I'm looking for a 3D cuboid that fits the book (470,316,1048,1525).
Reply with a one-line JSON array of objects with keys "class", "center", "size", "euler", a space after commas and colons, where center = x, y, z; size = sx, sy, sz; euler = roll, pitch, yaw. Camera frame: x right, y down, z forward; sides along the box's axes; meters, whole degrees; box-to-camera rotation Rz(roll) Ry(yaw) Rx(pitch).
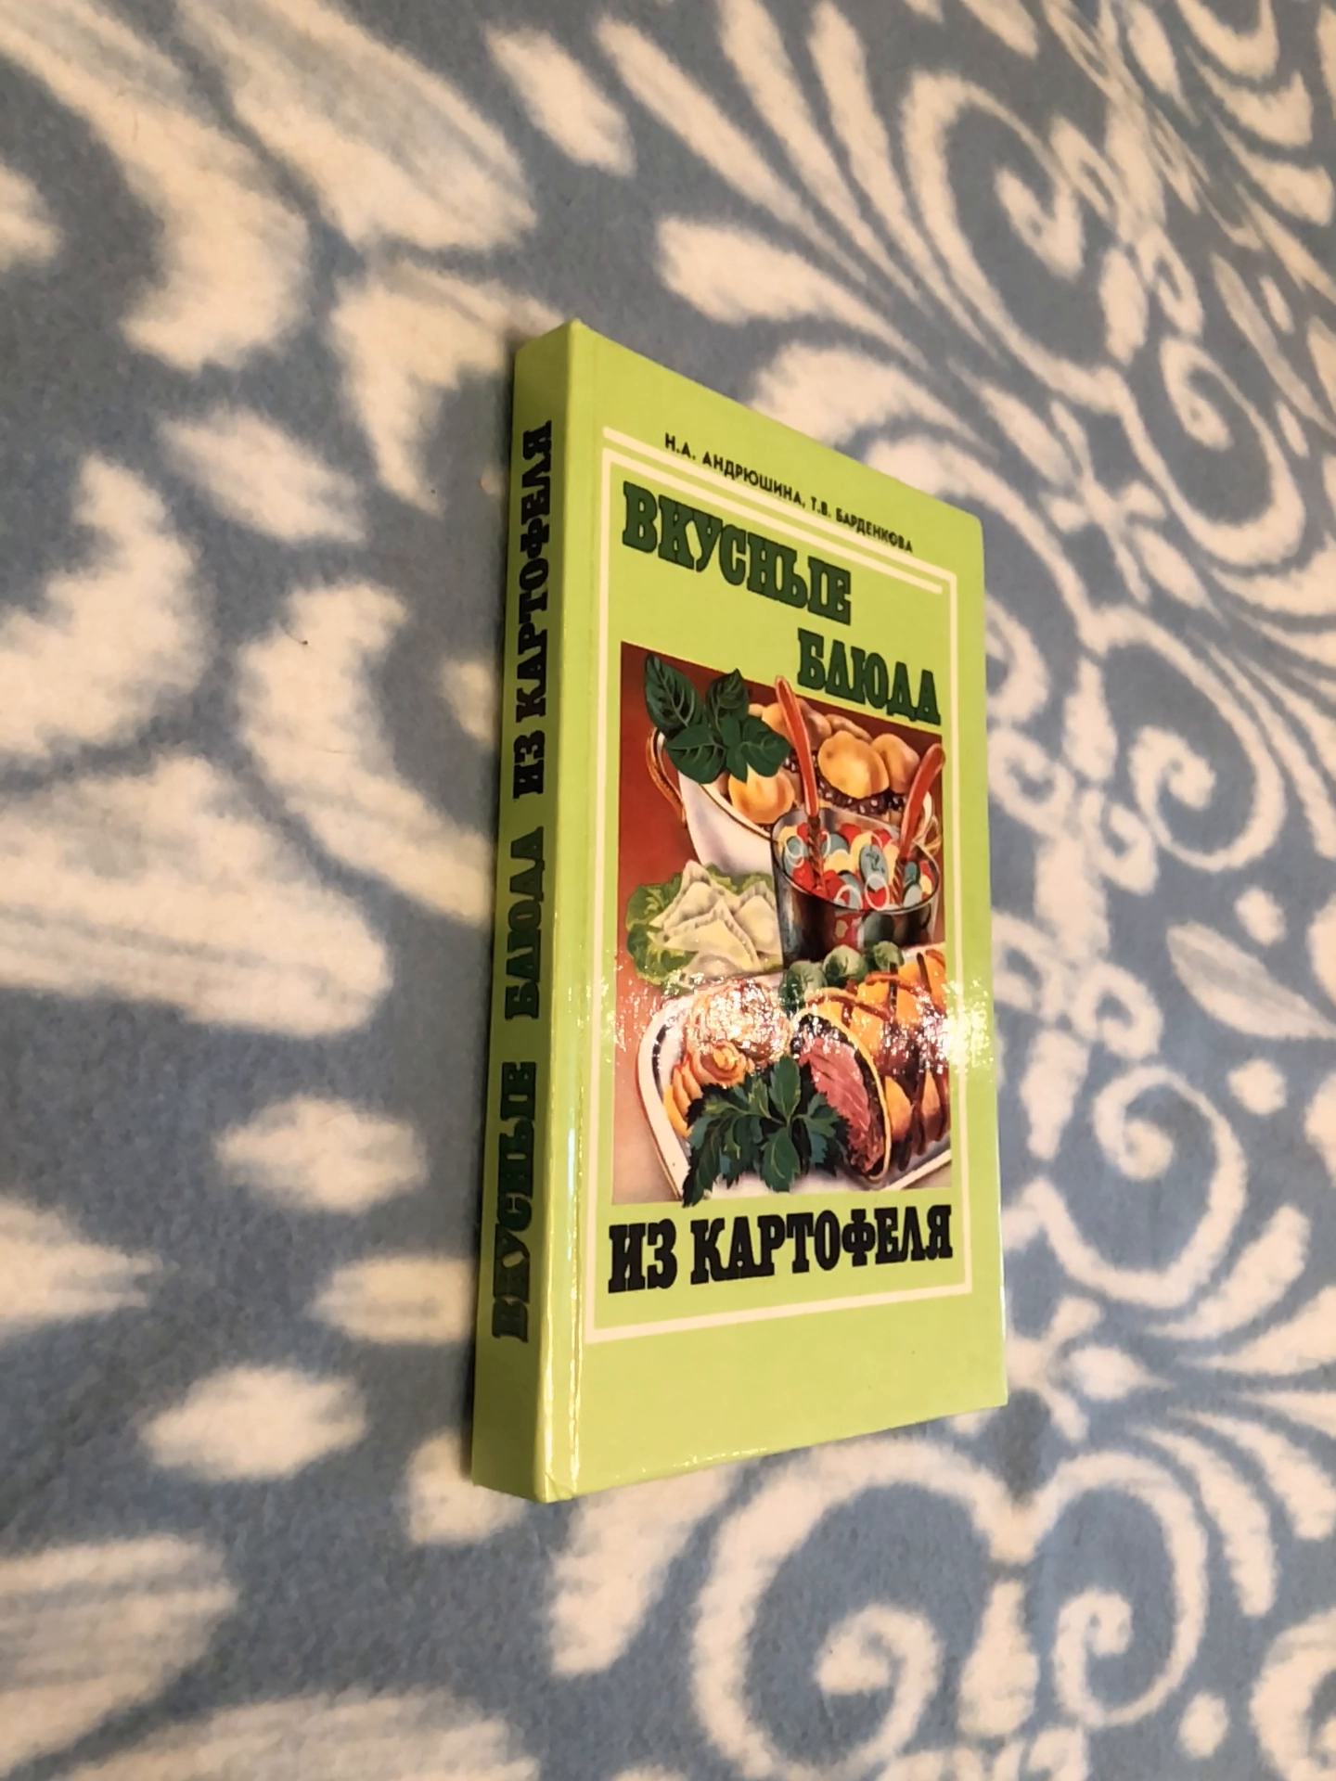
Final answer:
[{"class": "book", "center": [0.026, 0.008, 0.300], "size": [0.136, 0.025, 0.201], "euler": [9, 78, -43]}]
